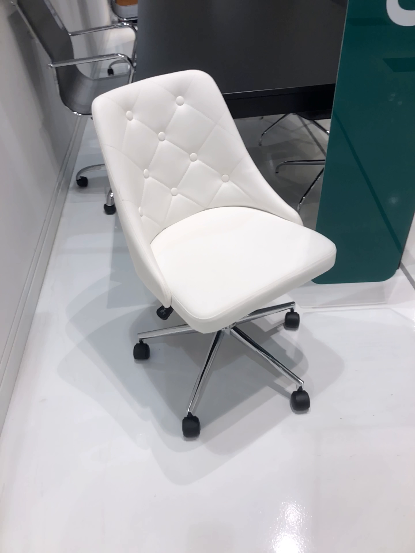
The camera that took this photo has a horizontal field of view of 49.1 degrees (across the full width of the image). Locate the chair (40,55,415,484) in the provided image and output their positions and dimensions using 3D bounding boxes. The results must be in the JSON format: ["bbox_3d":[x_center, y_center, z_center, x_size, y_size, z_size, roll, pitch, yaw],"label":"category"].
[{"bbox_3d":[0.042,-0.050,1.290,0.601,0.853,0.644,-25,44,-24],"label":"chair"}]
